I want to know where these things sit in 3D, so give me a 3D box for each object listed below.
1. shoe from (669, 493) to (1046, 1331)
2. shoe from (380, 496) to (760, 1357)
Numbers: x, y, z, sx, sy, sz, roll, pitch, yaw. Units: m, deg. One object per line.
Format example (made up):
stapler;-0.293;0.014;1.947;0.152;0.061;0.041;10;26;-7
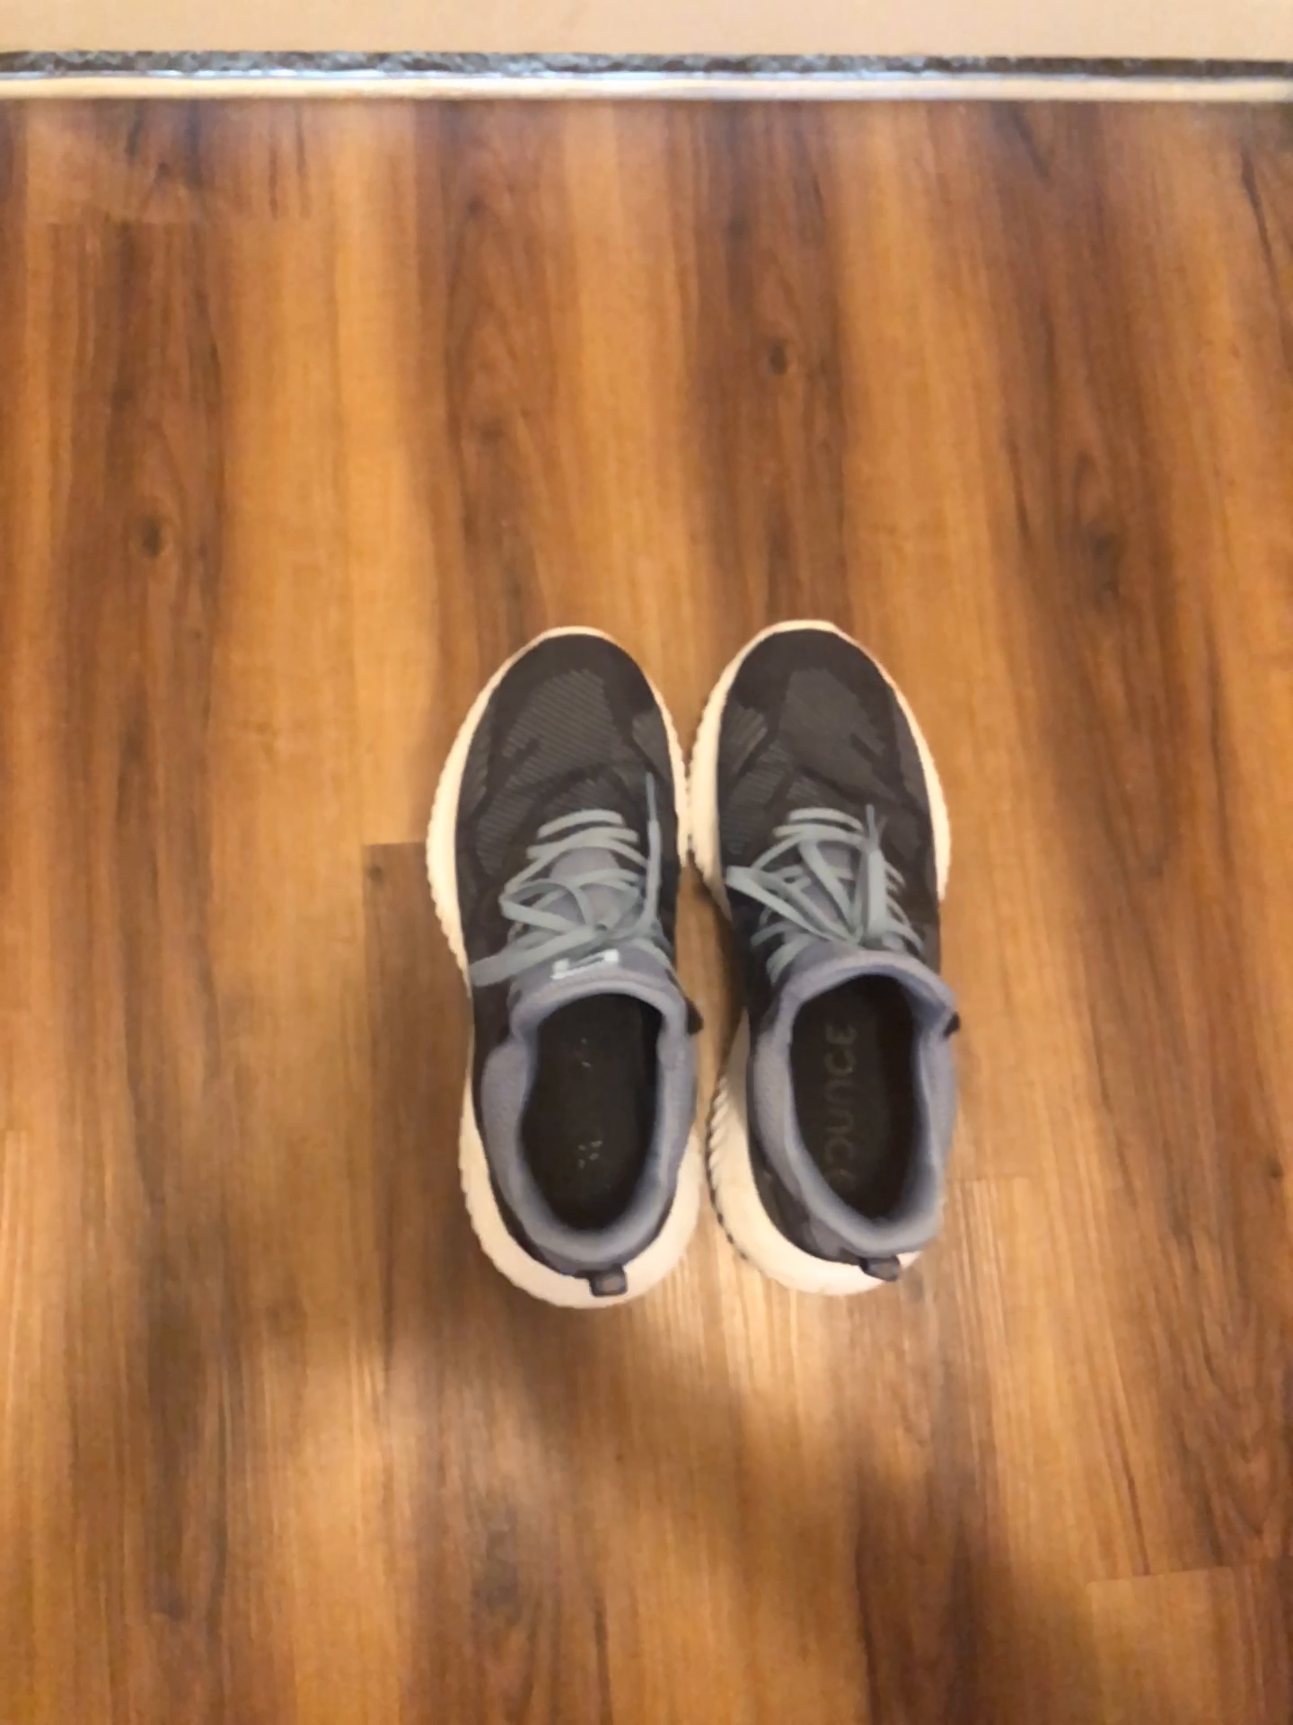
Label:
shoe;0.083;0.024;0.635;0.131;0.131;0.334;2;78;-4
shoe;-0.039;0.027;0.625;0.133;0.135;0.333;-2;79;-5
